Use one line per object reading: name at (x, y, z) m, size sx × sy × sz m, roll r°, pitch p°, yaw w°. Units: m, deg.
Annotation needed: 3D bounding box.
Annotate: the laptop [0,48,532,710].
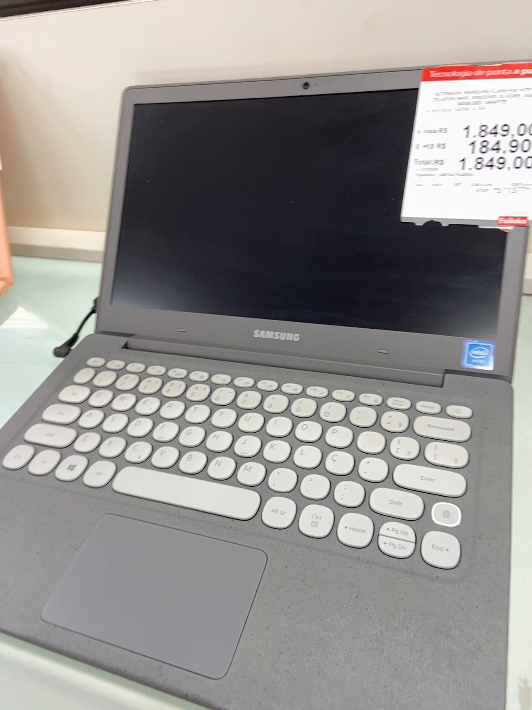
laptop at (-0.017, -0.036, 0.325) m, size 0.319 × 0.144 × 0.366 m, roll 6°, pitch 43°, yaw 21°
